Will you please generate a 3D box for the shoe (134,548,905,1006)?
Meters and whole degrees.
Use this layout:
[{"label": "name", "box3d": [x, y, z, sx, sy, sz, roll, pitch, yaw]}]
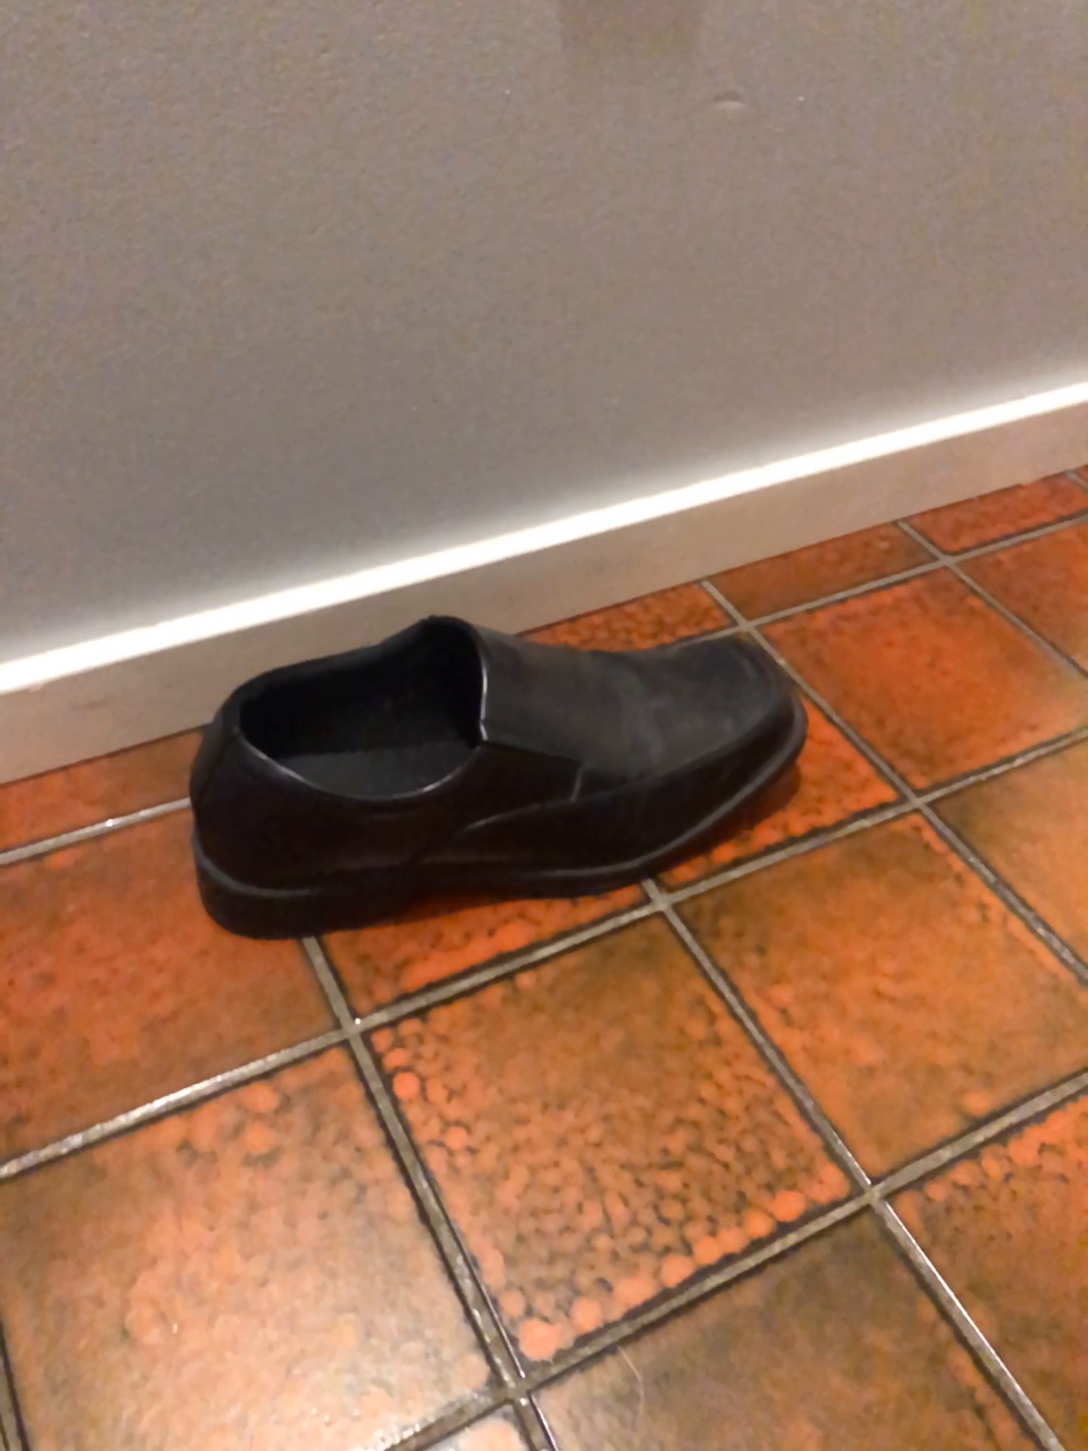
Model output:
[{"label": "shoe", "box3d": [-0.015, 0.015, 0.538, 0.300, 0.100, 0.120, -9, 46, -14]}]
